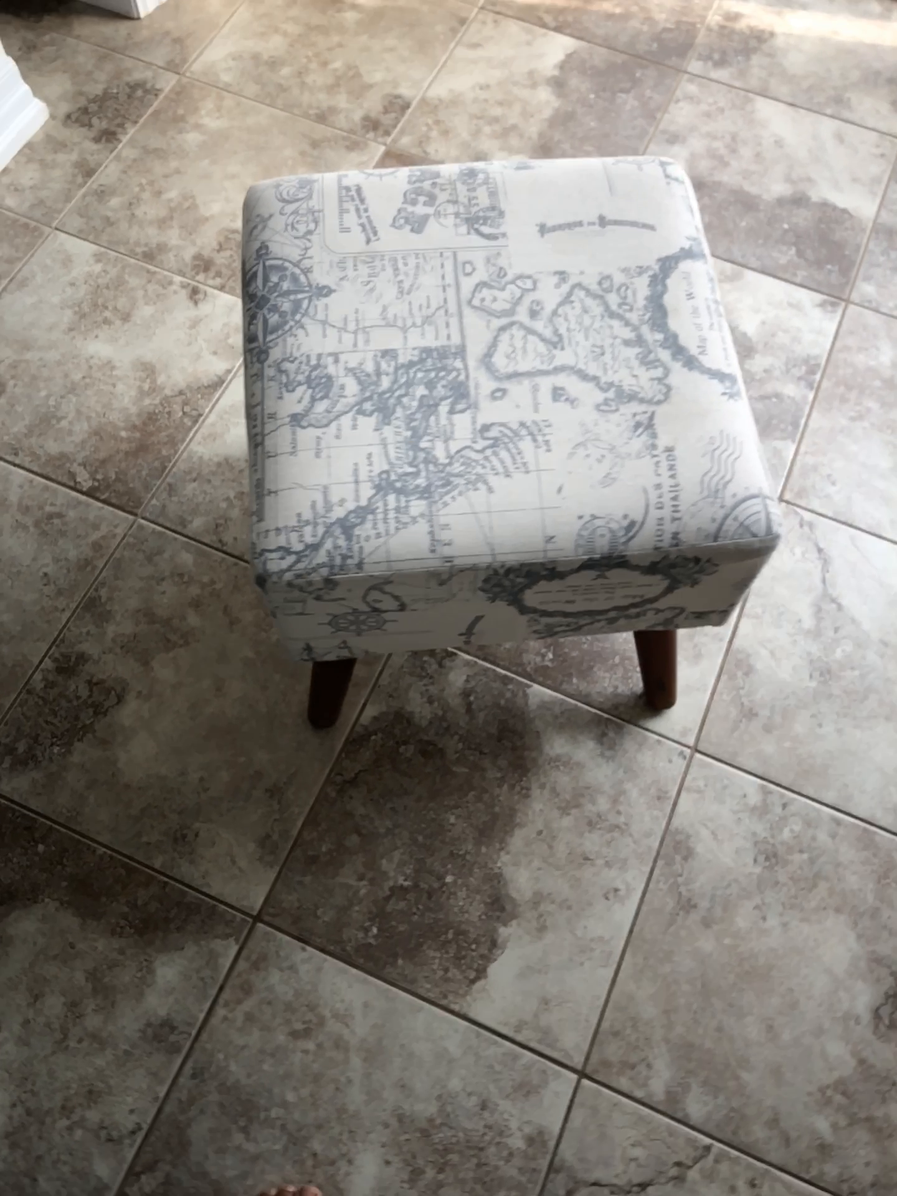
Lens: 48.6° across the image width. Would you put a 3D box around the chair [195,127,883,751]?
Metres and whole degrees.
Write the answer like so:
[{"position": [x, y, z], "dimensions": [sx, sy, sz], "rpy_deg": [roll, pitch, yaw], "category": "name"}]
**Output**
[{"position": [0.040, -0.133, 0.905], "dimensions": [0.470, 0.320, 0.420], "rpy_deg": [-5, 65, -4], "category": "chair"}]
